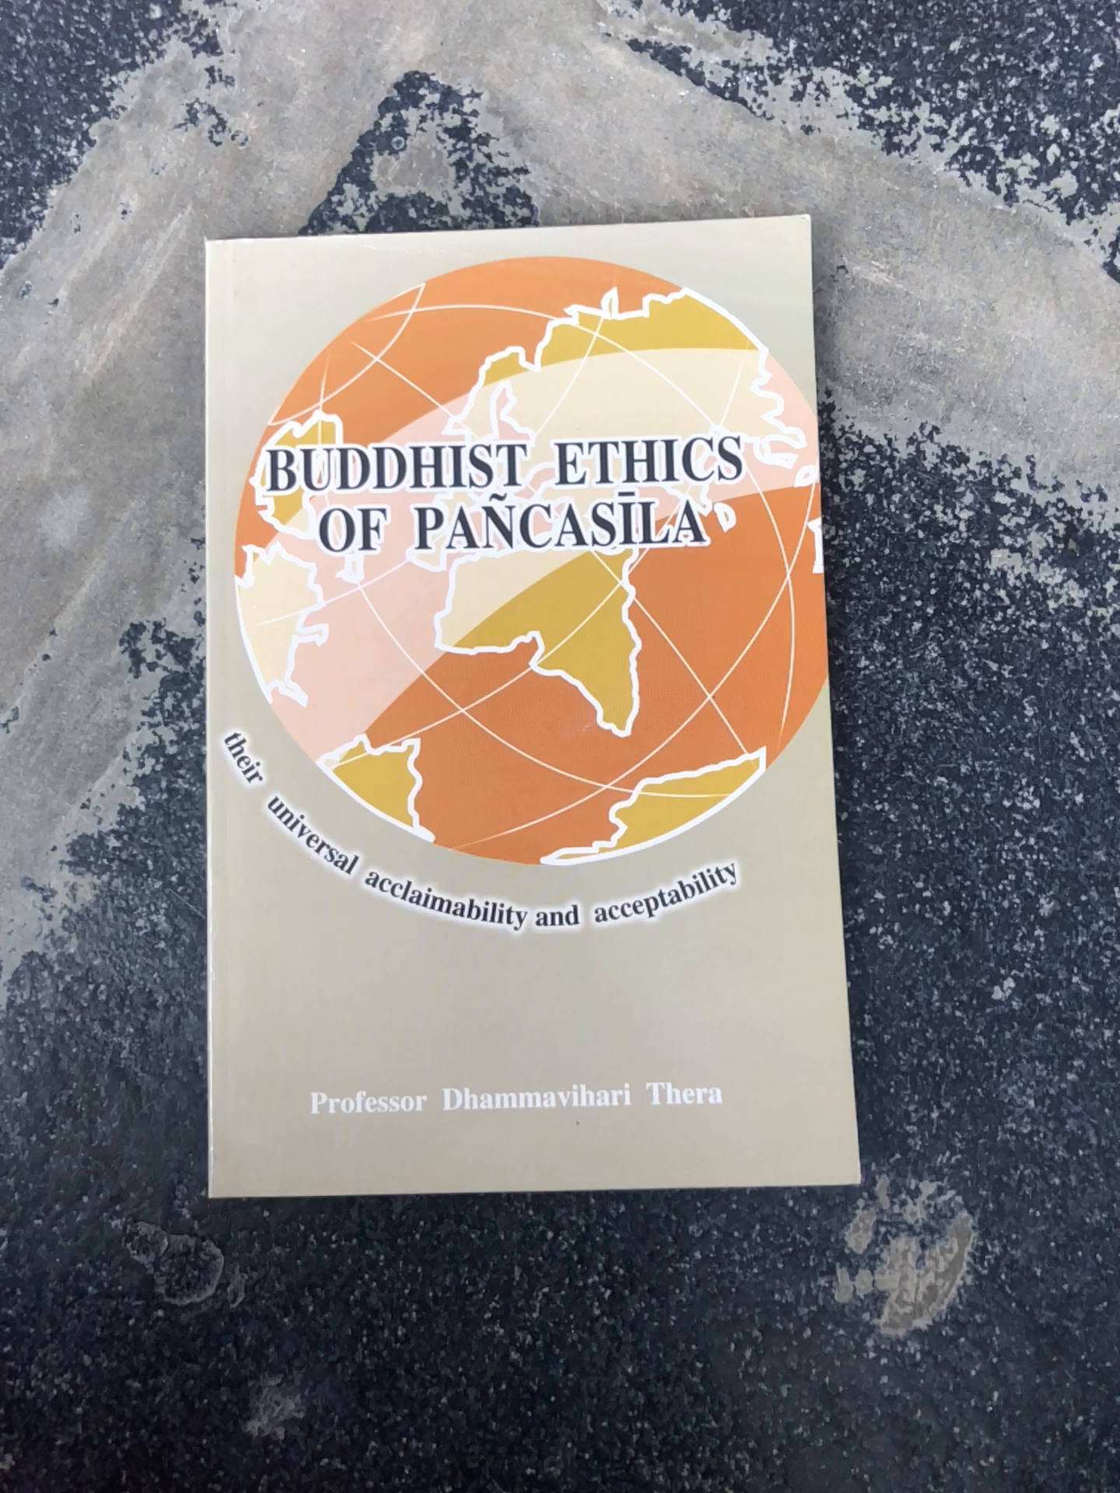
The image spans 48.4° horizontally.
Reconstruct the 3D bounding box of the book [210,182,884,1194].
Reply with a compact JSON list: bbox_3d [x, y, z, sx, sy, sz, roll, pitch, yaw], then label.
[{"bbox_3d":[-0.005,-0.018,0.276,0.140,0.010,0.220,-1,84,-1],"label":"book"}]
